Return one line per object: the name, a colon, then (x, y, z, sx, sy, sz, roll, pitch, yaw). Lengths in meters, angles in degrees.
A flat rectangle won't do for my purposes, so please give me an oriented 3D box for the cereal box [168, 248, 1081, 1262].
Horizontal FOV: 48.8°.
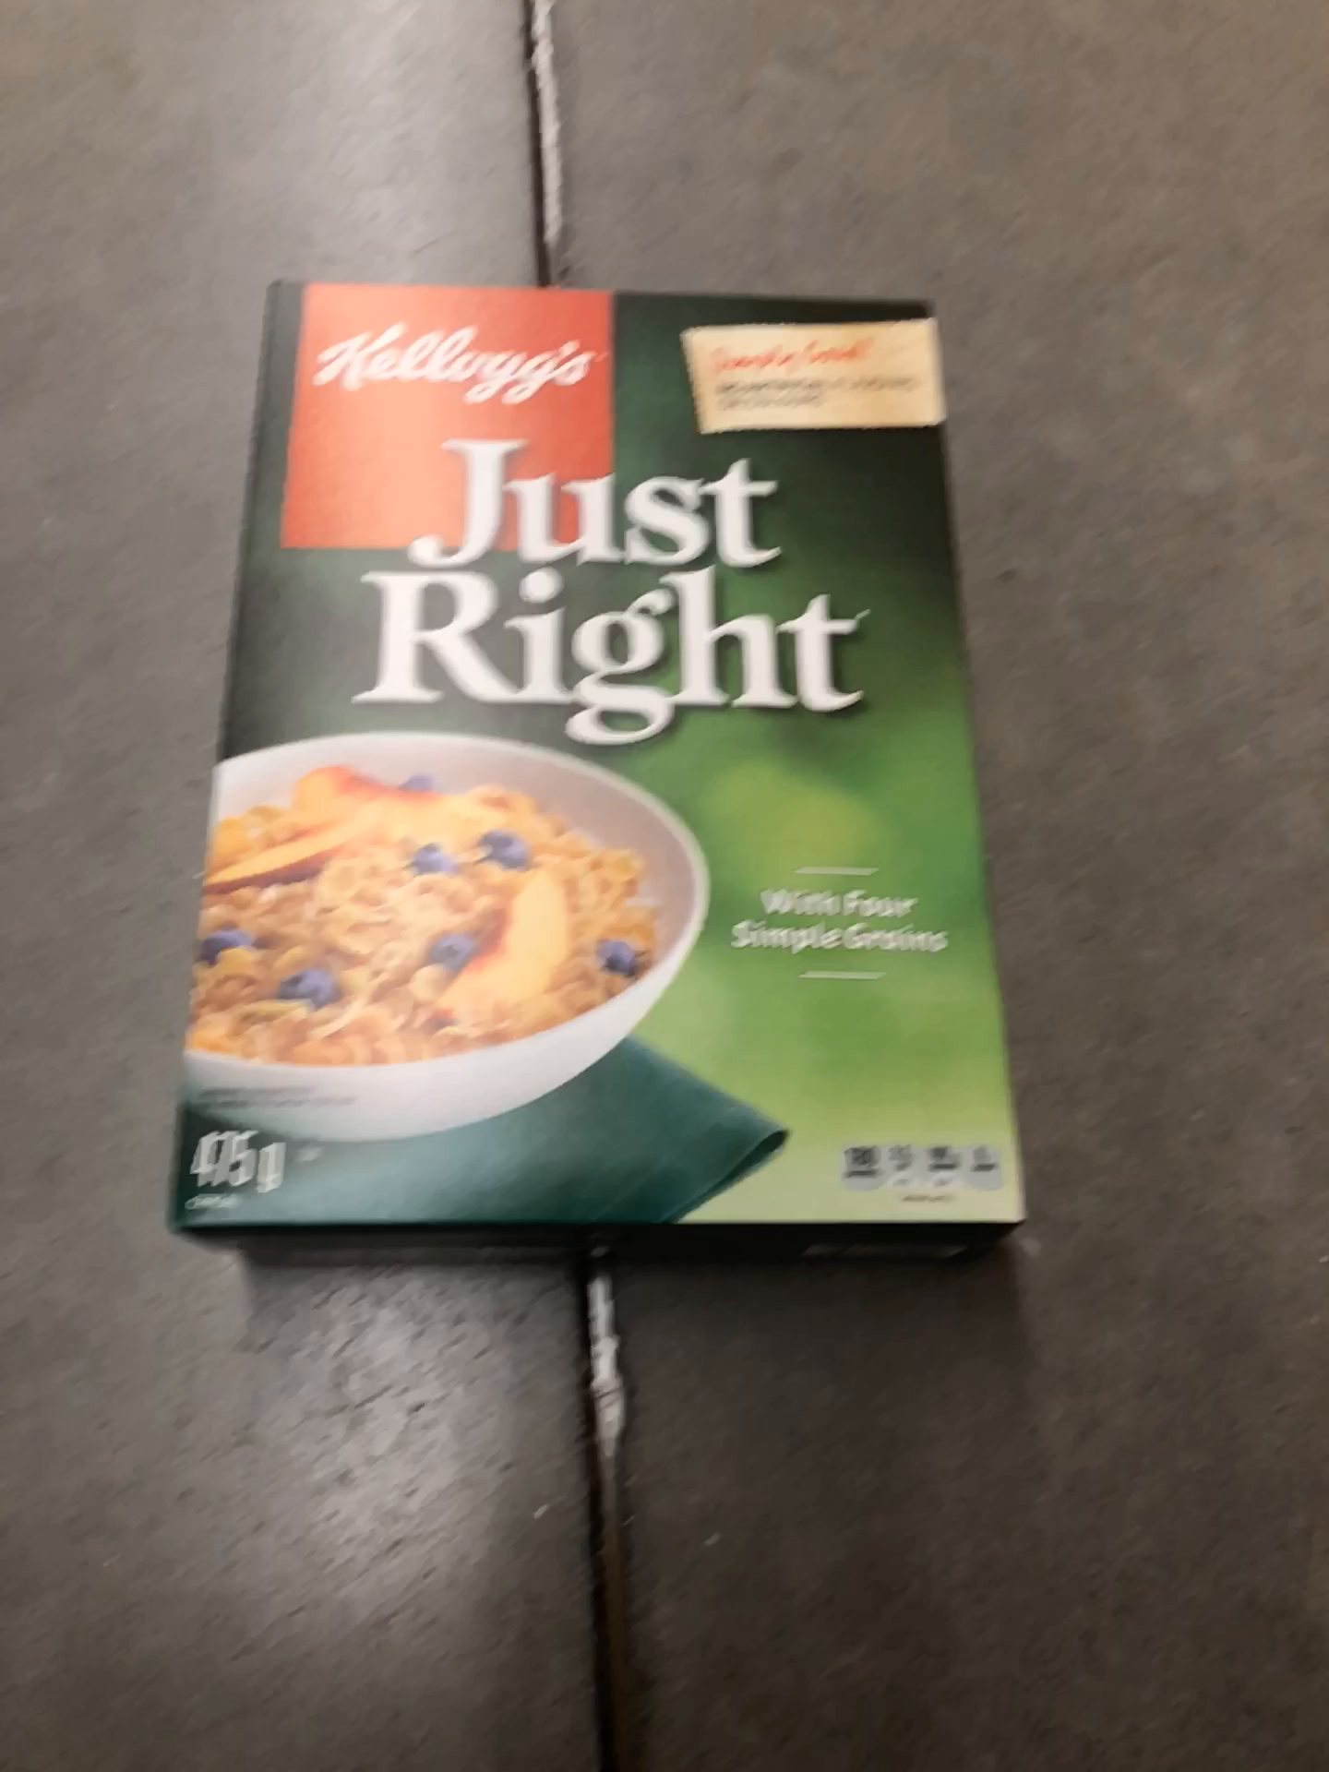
cereal box: (-0.012, -0.047, 0.419, 0.210, 0.060, 0.291, 0, 68, -2)
